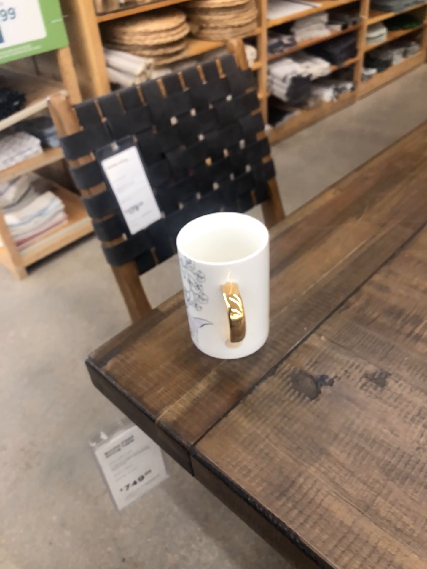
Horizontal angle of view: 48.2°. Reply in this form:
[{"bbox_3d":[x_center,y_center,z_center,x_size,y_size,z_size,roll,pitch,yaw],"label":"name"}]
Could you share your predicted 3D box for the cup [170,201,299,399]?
[{"bbox_3d":[0.016,0.010,0.424,0.082,0.111,0.122,-10,39,-5],"label":"cup"}]
